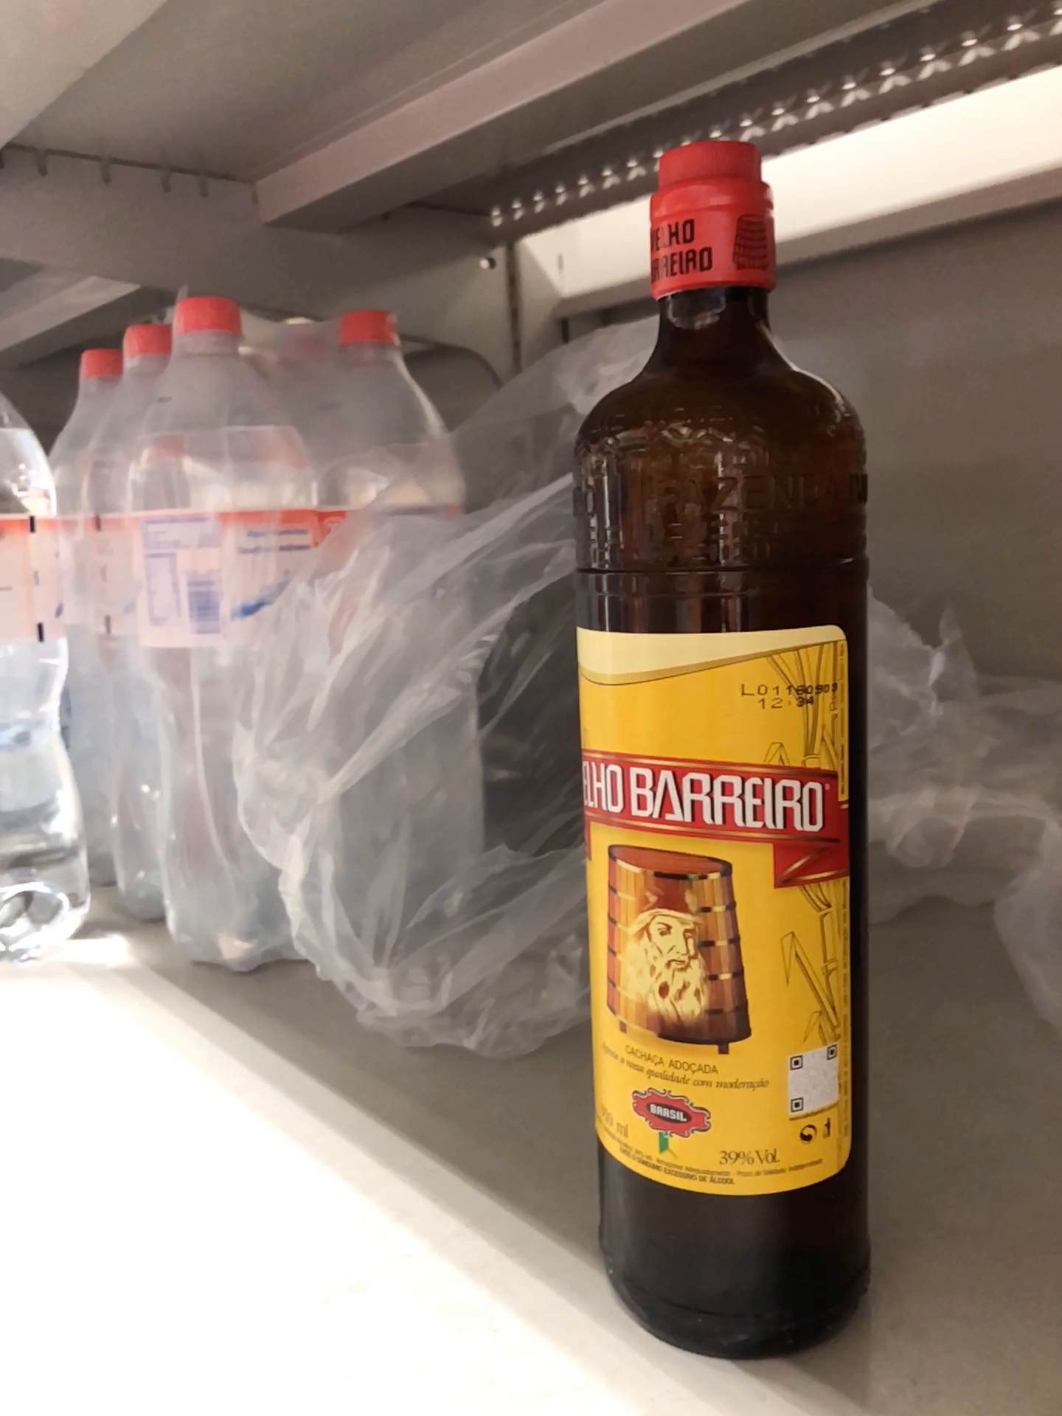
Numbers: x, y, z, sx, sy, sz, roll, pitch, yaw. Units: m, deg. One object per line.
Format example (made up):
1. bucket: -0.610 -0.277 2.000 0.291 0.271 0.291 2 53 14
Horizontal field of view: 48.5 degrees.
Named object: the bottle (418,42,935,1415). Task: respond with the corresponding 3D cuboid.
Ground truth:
1. bottle: 0.044 0.009 0.310 0.090 0.299 0.080 1 10 35
